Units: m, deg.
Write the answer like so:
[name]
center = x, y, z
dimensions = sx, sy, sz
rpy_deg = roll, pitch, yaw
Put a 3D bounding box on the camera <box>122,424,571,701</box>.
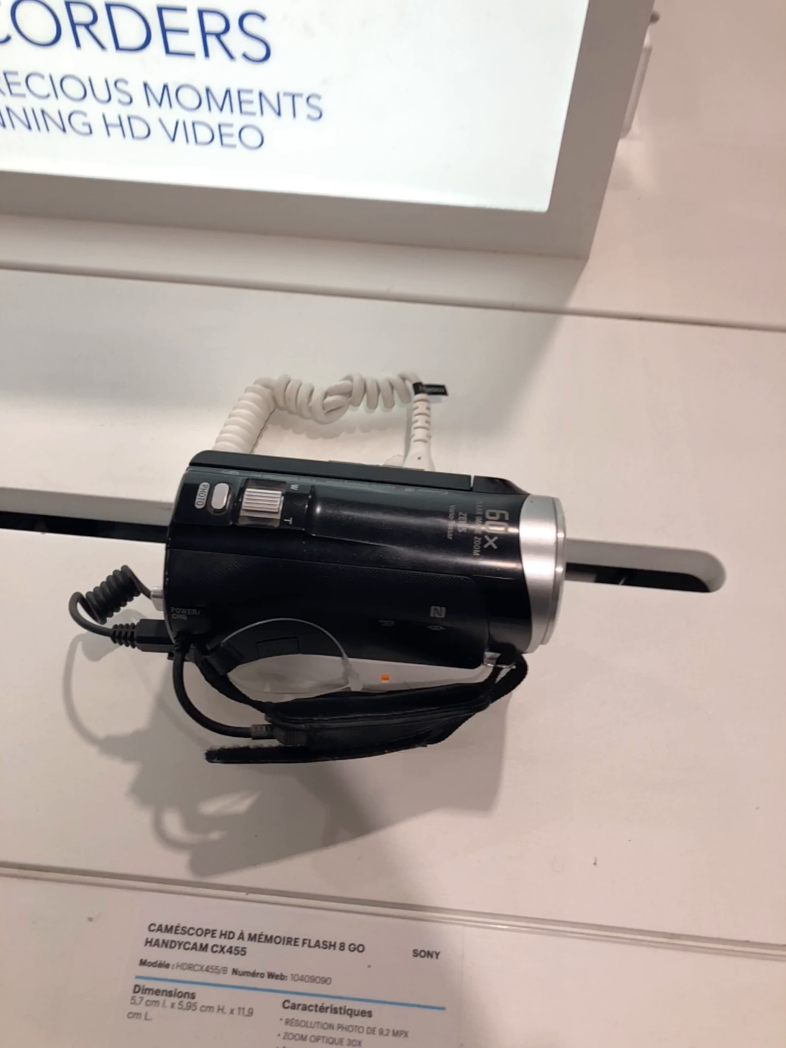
[camera]
center = -0.011, 0.013, 0.274
dimensions = 0.121, 0.058, 0.057
rpy_deg = 4, 57, 2
